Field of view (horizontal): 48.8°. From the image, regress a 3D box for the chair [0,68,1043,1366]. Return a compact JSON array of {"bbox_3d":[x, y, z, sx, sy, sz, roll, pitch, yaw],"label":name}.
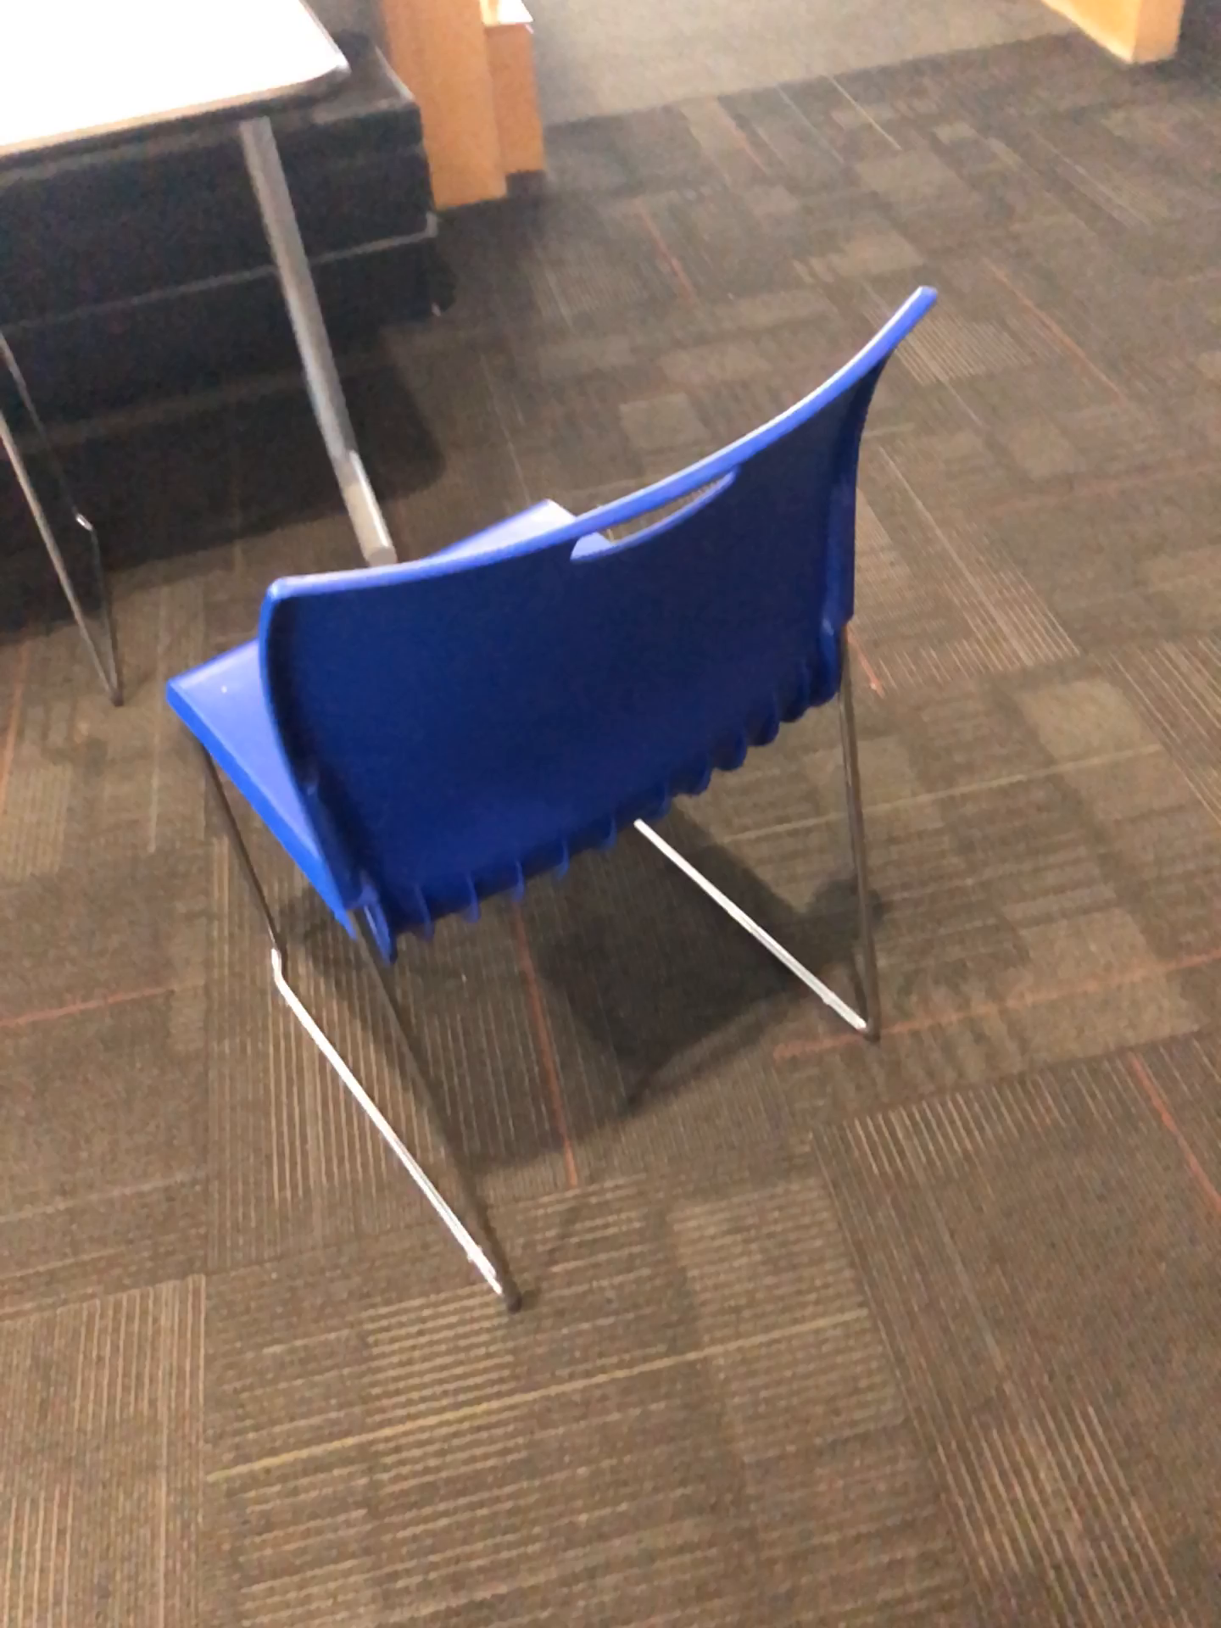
[{"bbox_3d":[-0.110,-0.095,1.159,0.580,0.757,0.592,-30,49,-22],"label":"chair"}]
